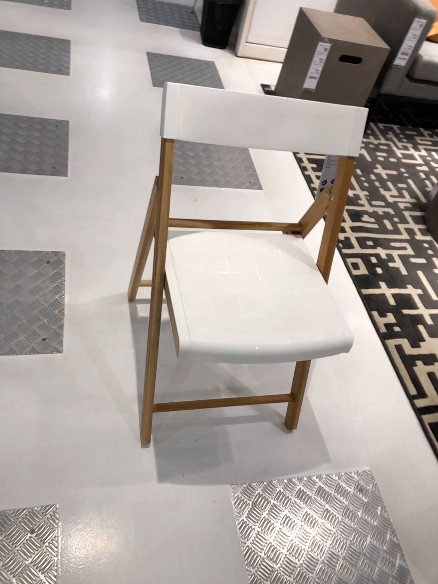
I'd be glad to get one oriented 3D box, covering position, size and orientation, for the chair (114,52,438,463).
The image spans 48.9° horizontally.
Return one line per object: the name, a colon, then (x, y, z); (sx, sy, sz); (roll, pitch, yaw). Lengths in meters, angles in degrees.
chair: (0.033, -0.044, 1.113); (0.471, 0.705, 0.553); (-1, 49, -17)
